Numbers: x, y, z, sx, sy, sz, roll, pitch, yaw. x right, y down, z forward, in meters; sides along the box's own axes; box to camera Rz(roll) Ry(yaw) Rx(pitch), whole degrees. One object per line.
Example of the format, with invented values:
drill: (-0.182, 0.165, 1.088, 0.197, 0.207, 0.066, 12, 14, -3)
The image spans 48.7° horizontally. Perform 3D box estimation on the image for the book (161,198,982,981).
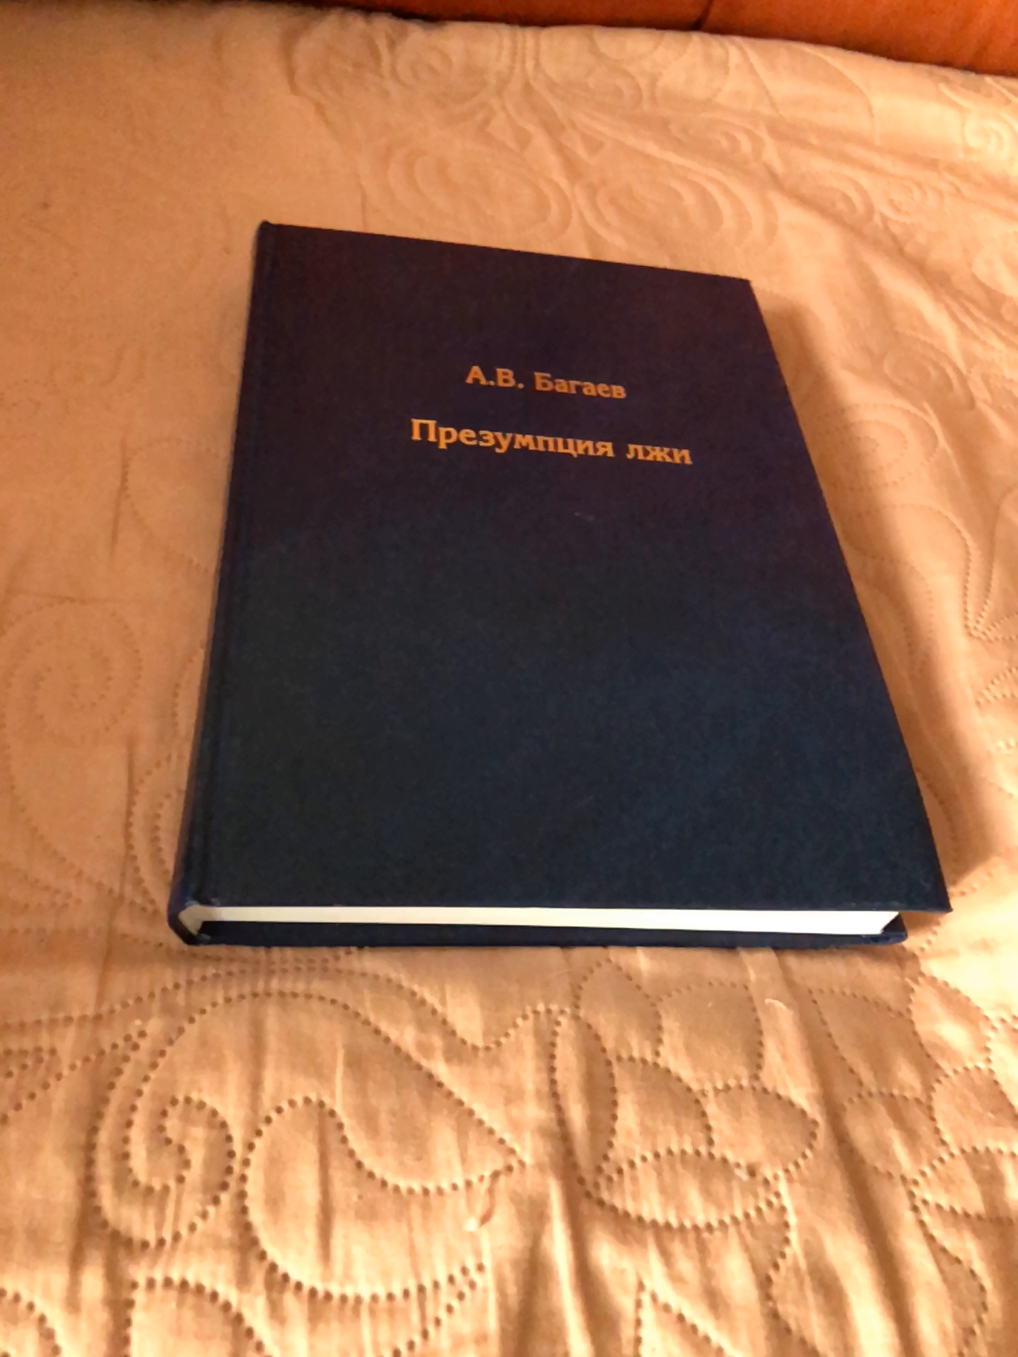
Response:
book: (0.008, -0.044, 0.329, 0.180, 0.030, 0.261, 3, 54, -10)
